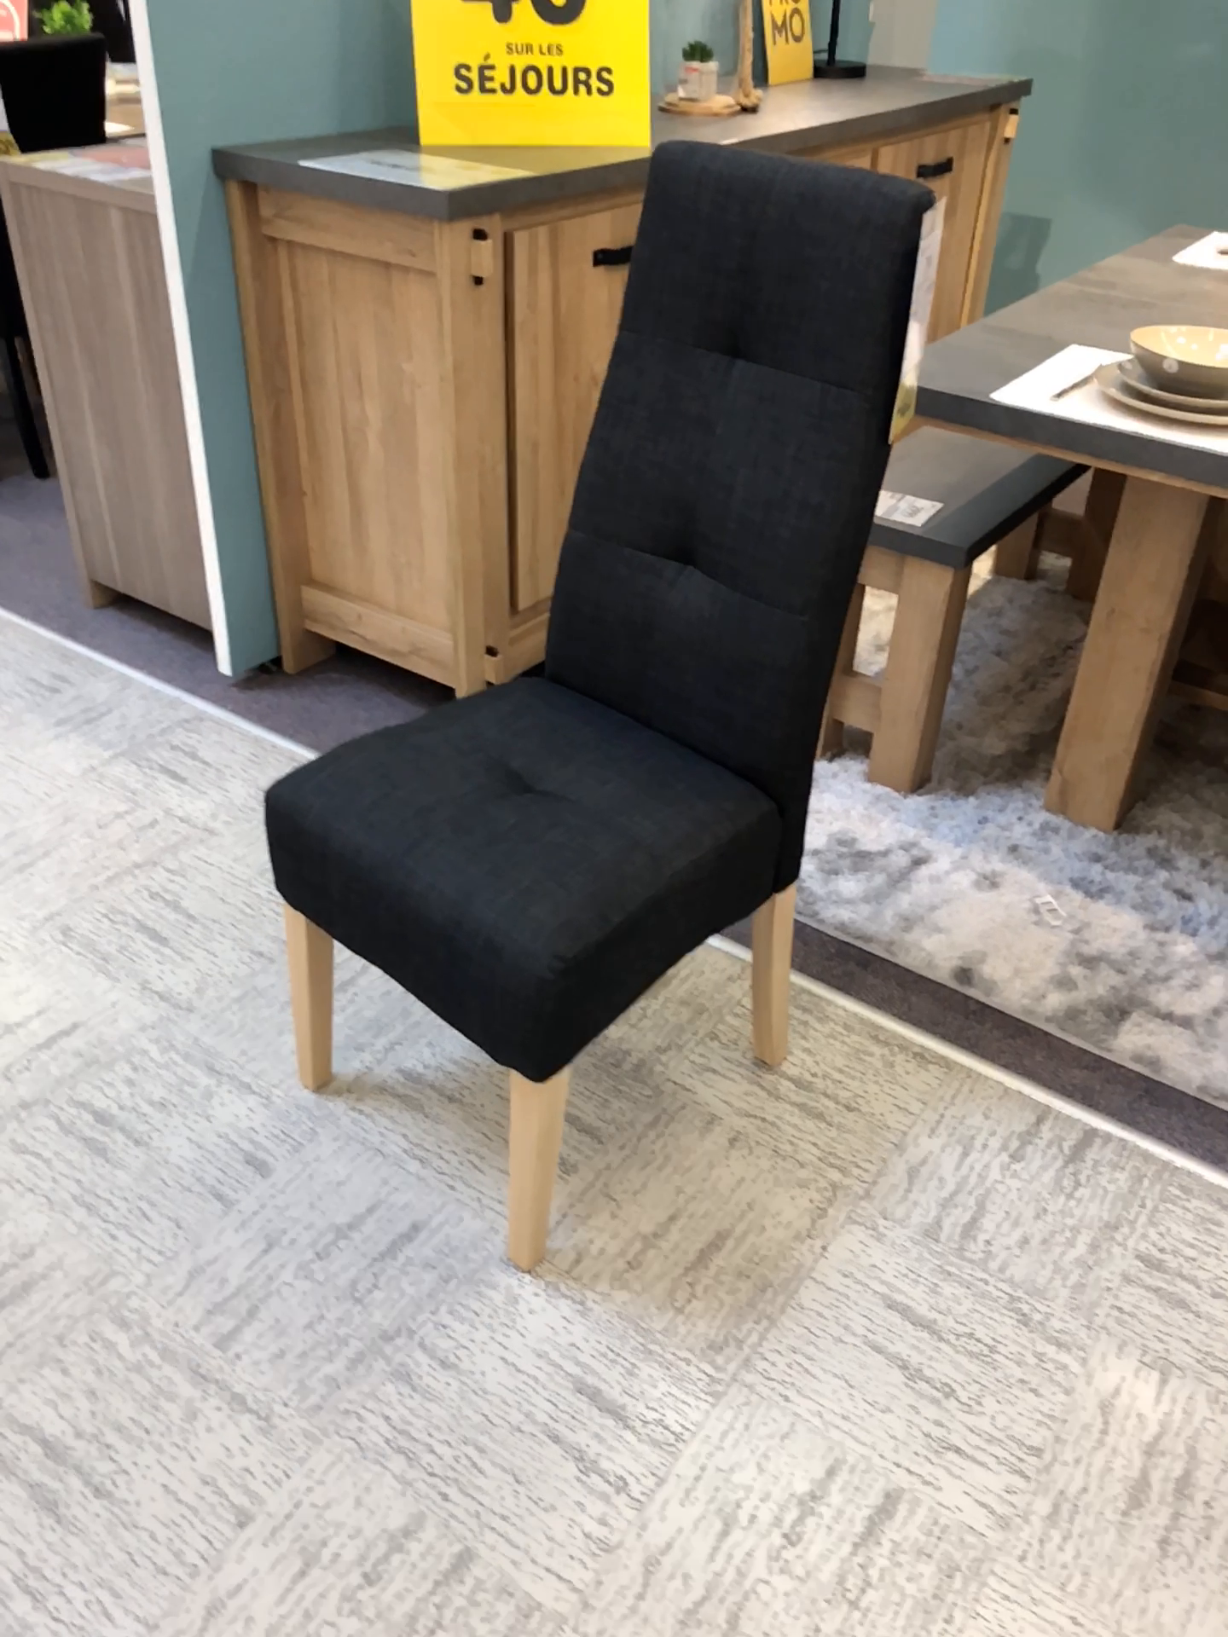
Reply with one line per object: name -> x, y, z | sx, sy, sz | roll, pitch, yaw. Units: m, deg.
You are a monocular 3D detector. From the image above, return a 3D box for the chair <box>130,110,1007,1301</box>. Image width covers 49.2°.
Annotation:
chair -> -0.037, -0.135, 1.457 | 0.480, 1.043, 0.604 | 28, 42, 32
